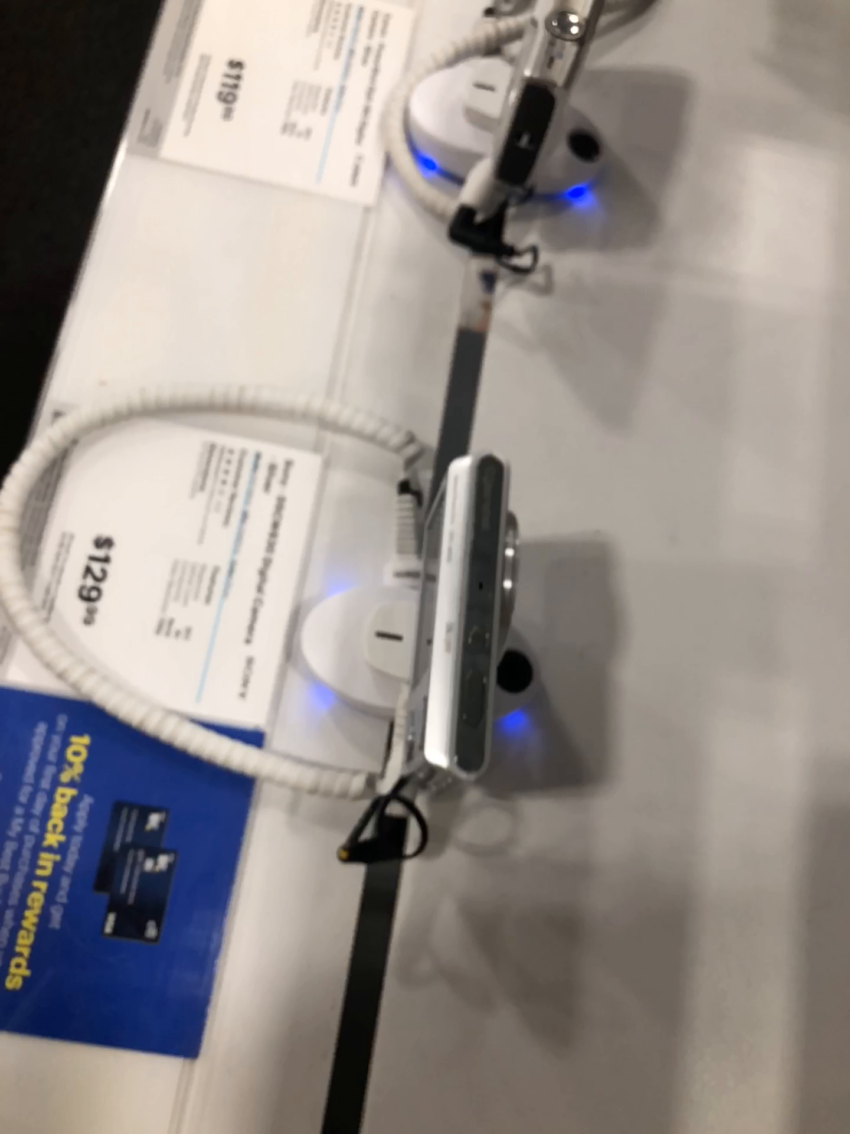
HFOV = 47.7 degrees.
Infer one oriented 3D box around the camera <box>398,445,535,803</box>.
[{"bbox_3d":[0.011,0.021,0.282,0.020,0.070,0.090,8,73,-6],"label":"camera"}]
